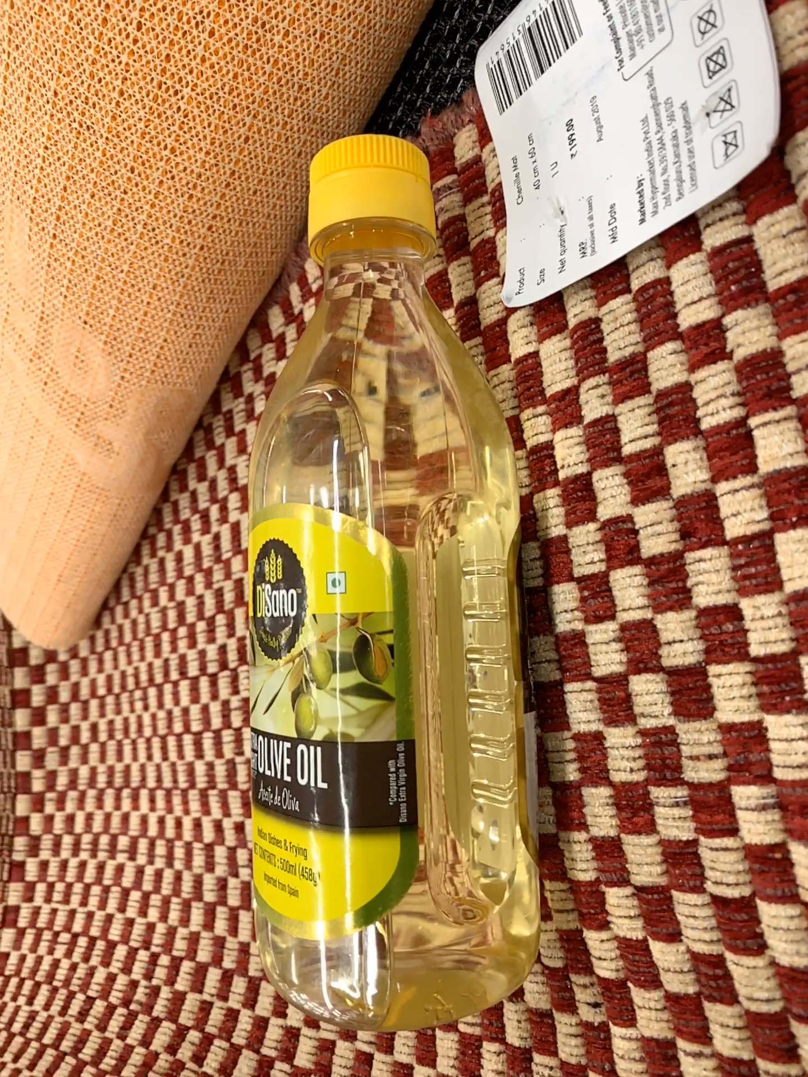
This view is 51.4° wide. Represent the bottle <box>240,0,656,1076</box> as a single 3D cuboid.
[{"bbox_3d":[0.006,-0.005,0.207,0.070,0.060,0.230,-9,83,52],"label":"bottle"}]
